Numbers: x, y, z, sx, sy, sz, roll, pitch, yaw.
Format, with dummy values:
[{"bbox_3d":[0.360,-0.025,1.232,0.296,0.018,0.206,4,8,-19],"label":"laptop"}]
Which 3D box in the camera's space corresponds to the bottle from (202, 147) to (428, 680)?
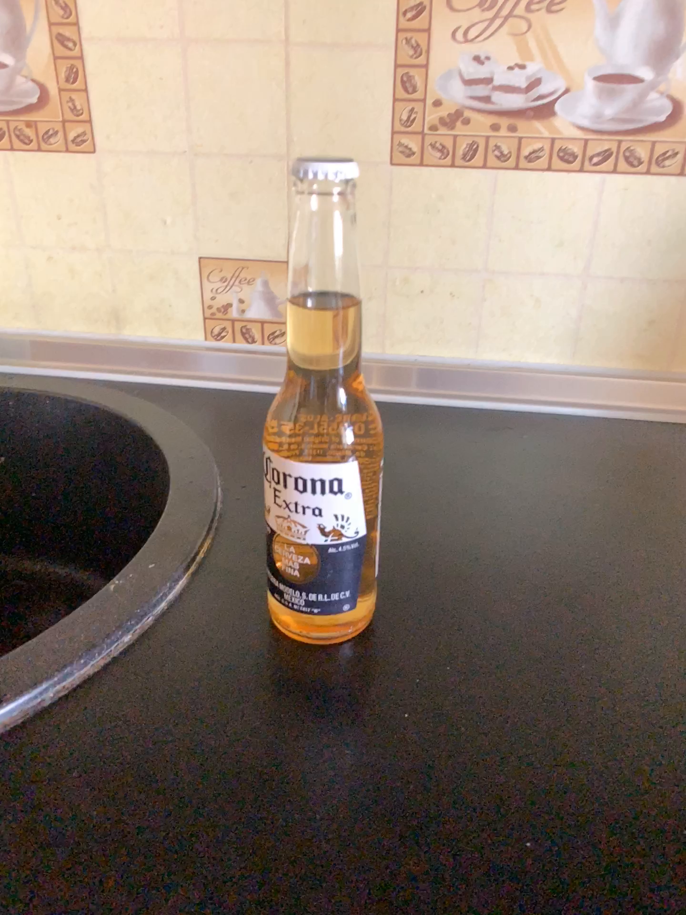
[{"bbox_3d":[-0.012,-0.016,0.352,0.070,0.249,0.070,1,27,-1],"label":"bottle"}]
